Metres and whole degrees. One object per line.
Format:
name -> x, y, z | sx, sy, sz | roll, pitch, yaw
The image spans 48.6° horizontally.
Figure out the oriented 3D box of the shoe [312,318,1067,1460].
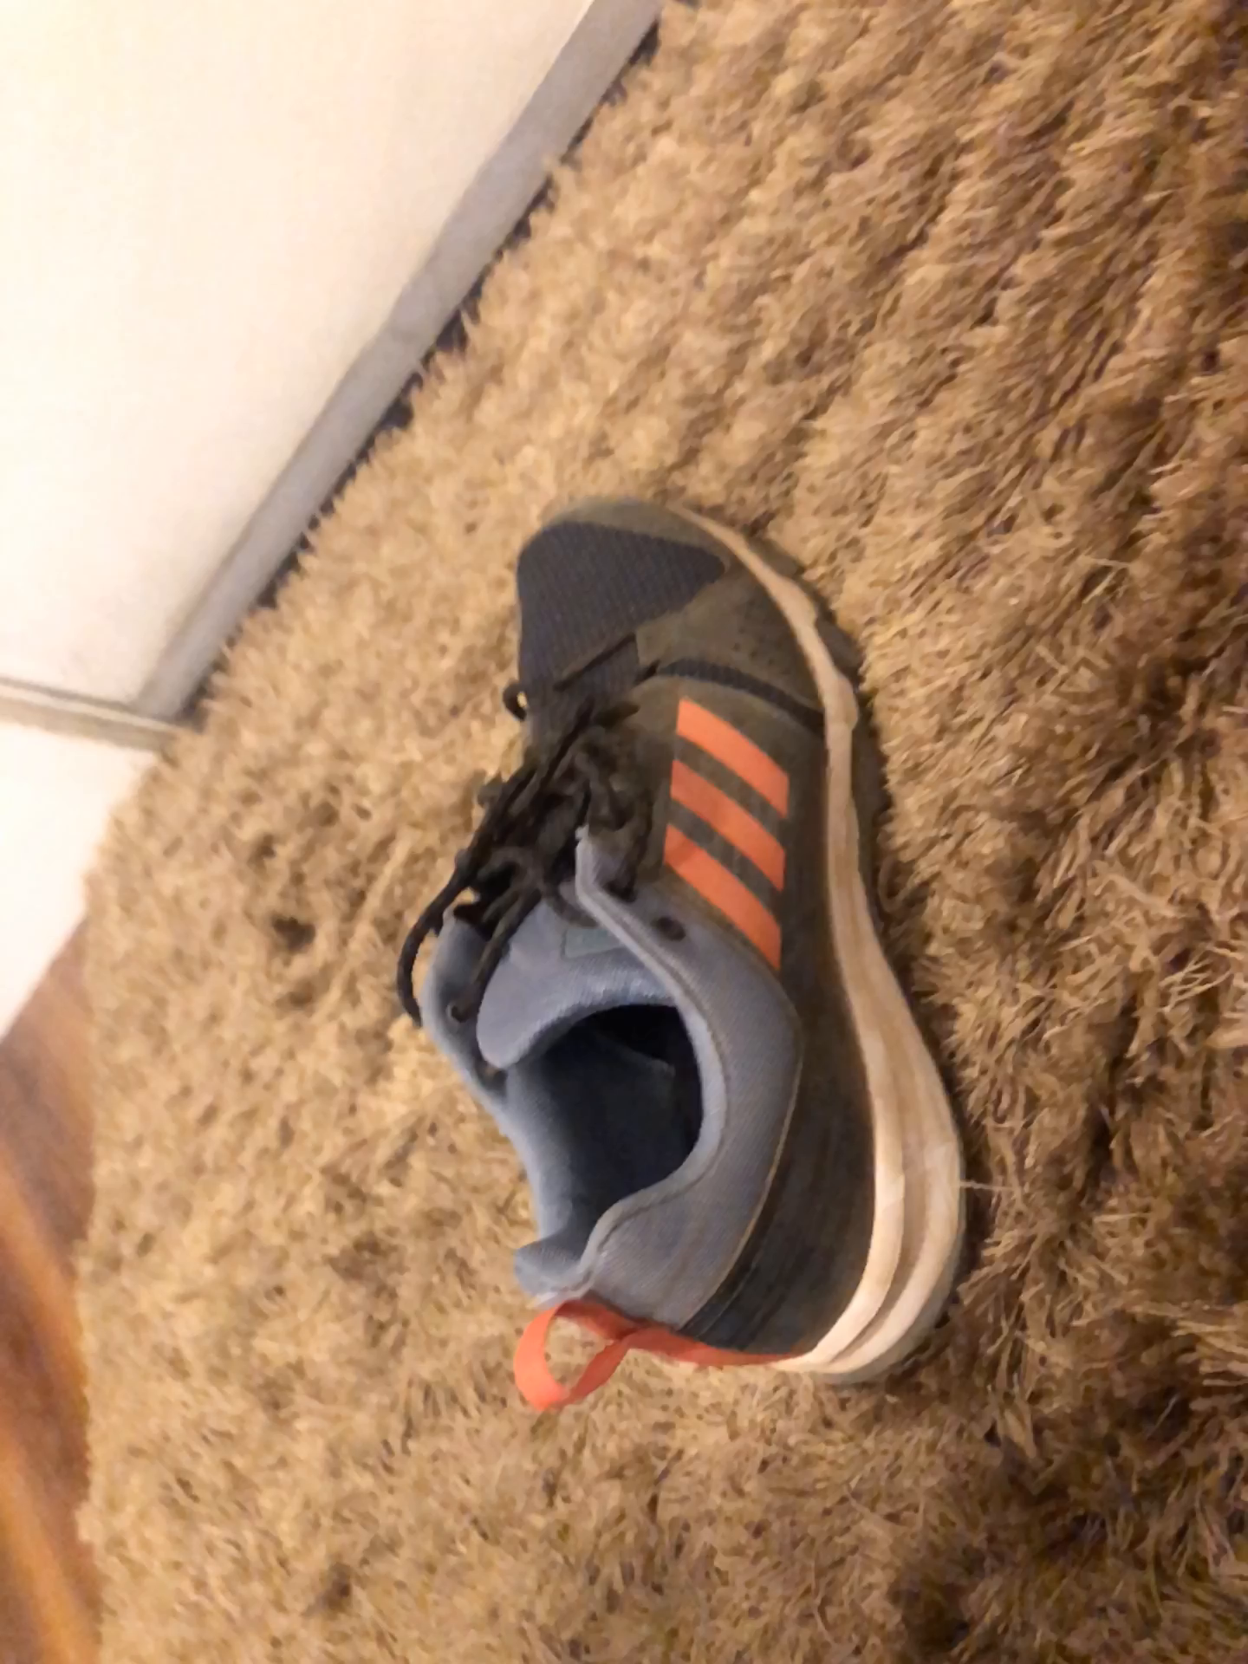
shoe -> -0.001, 0.011, 0.387 | 0.113, 0.110, 0.275 | -40, 51, 39
